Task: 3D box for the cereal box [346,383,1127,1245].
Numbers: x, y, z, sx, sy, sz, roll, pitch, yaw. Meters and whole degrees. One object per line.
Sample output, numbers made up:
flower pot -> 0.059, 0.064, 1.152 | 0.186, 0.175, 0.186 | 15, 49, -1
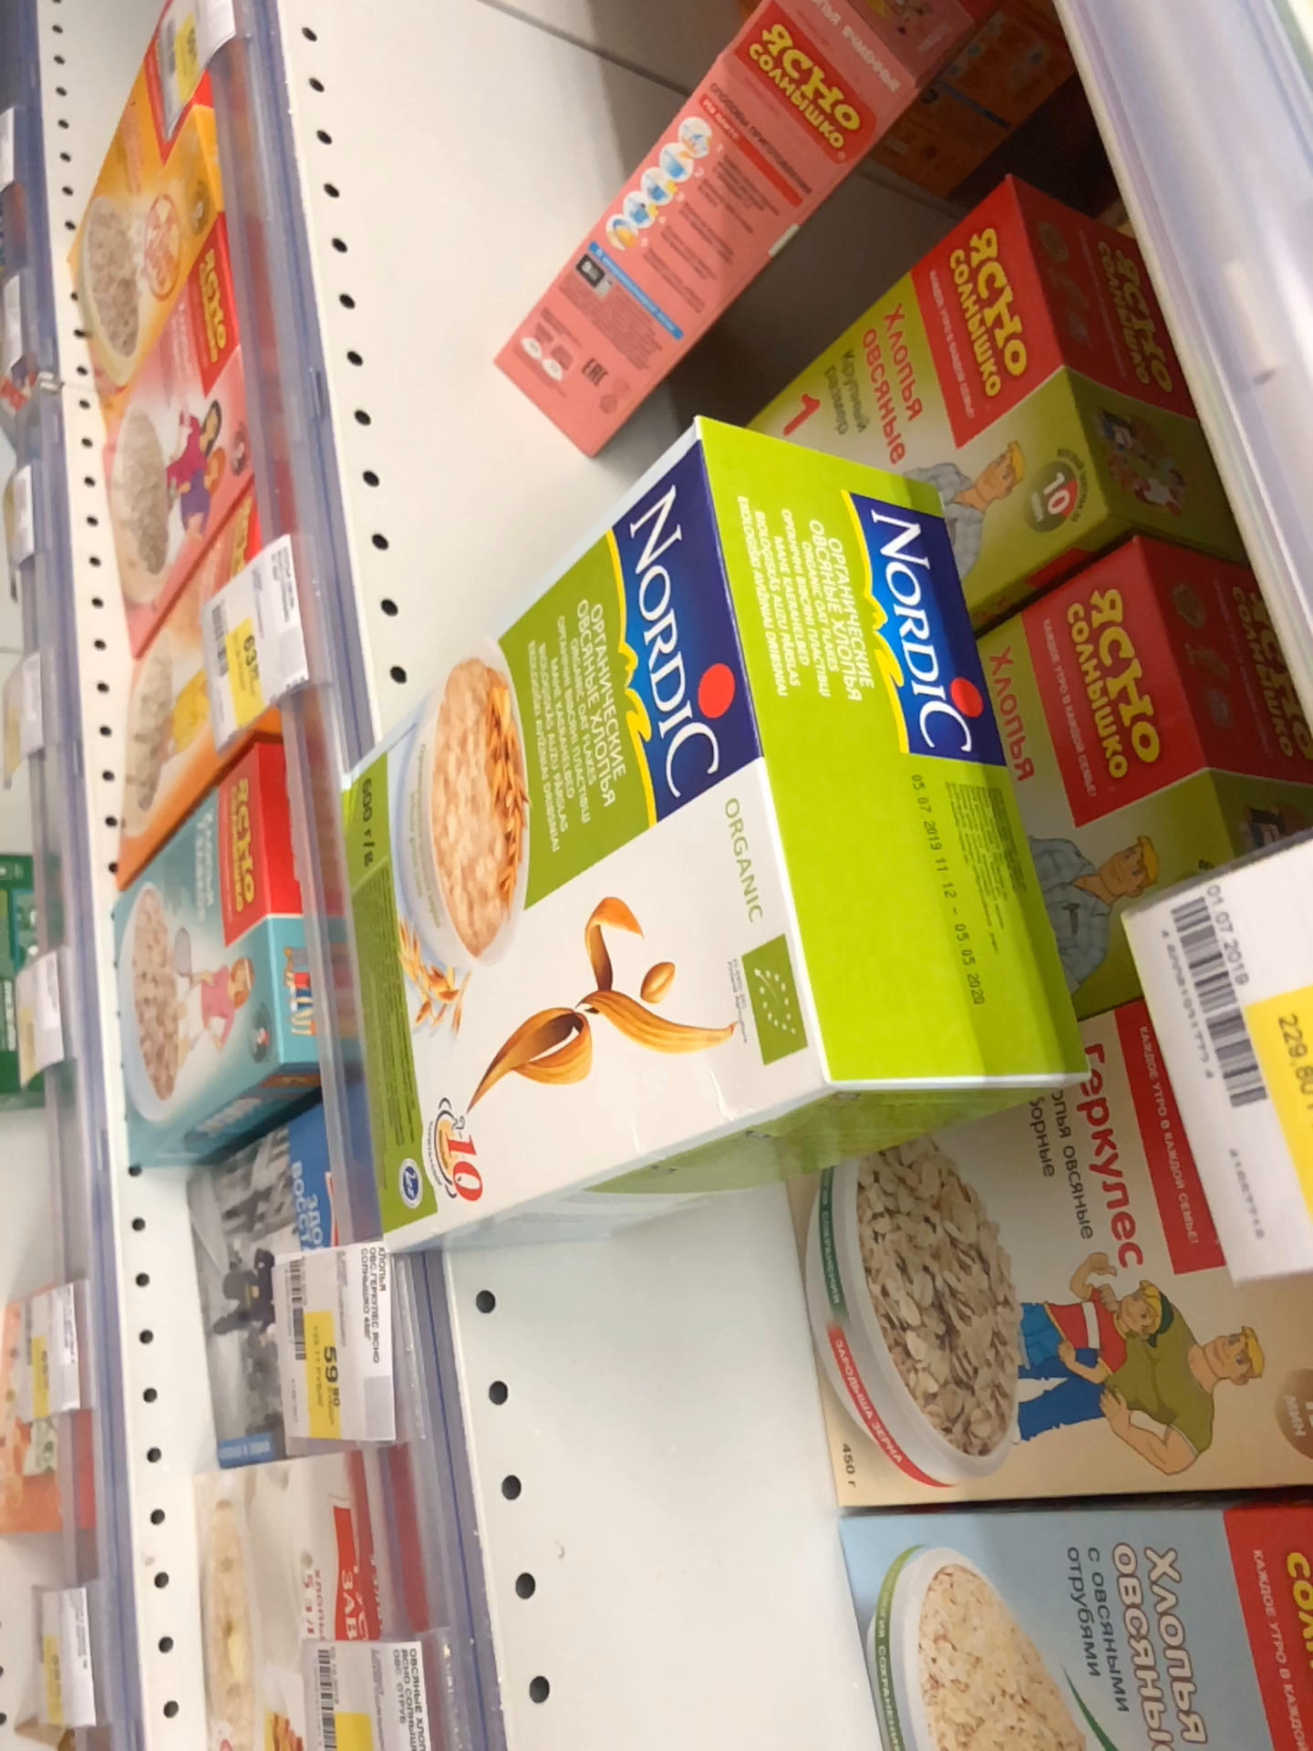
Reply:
cereal box -> 0.002, 0.001, 0.379 | 0.080, 0.189, 0.150 | 4, 67, -36
